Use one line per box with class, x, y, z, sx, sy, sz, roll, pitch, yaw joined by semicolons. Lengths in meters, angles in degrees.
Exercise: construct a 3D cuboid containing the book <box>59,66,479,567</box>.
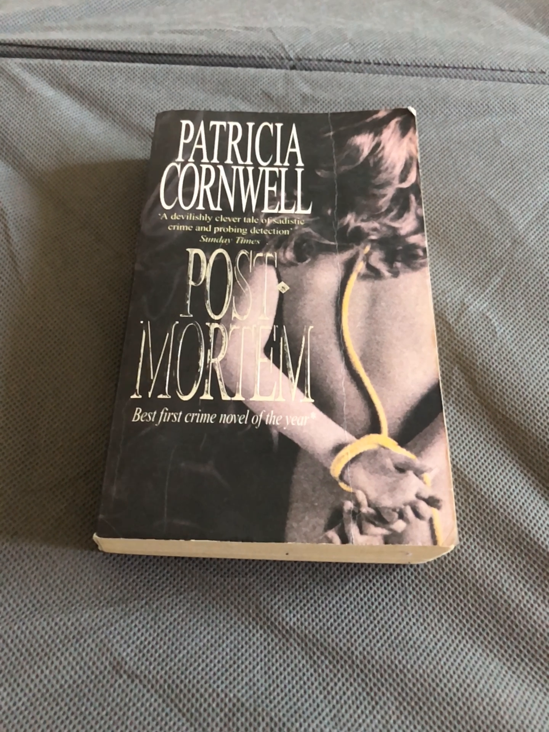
book;0.000;-0.026;0.224;0.110;0.050;0.181;2;62;-2
